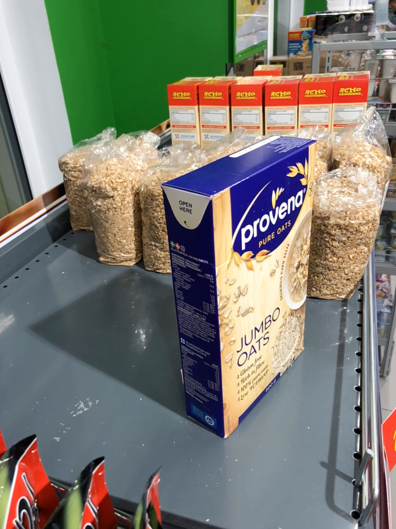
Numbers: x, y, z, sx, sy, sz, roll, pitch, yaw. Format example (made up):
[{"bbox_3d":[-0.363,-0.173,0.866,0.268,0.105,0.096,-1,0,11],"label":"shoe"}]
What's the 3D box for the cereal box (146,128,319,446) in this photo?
[{"bbox_3d":[0.040,0.016,0.379,0.050,0.229,0.151,19,36,36],"label":"cereal box"}]
